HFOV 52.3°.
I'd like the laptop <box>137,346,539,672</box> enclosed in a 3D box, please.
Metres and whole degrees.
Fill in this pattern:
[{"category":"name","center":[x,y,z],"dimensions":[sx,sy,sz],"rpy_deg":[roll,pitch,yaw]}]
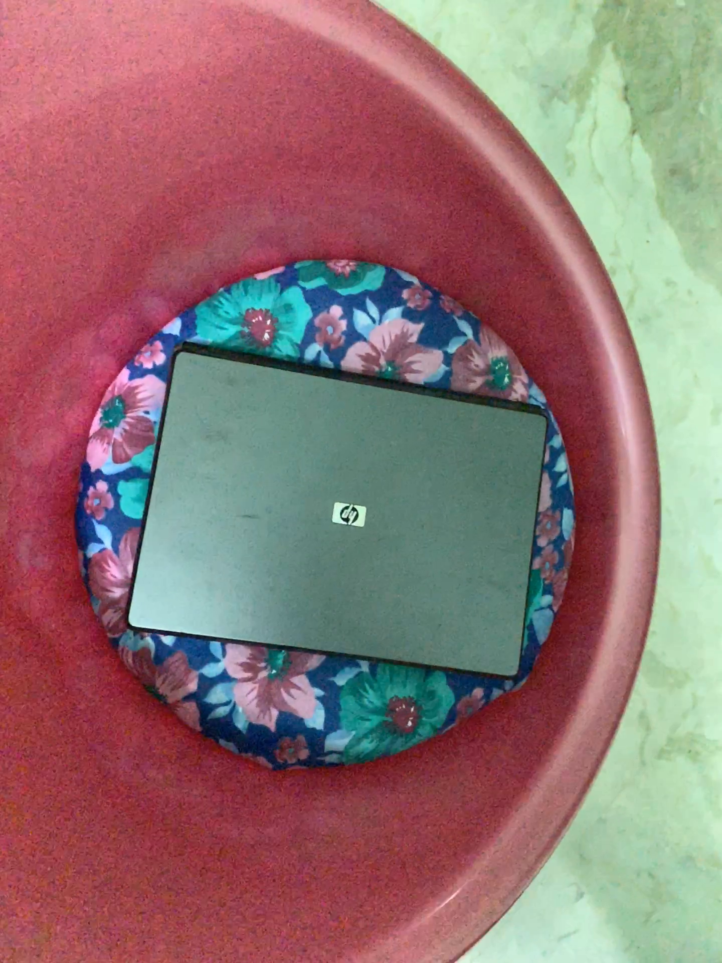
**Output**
[{"category":"laptop","center":[-0.008,0.026,0.600],"dimensions":[0.303,0.003,0.222],"rpy_deg":[9,84,-11]}]
